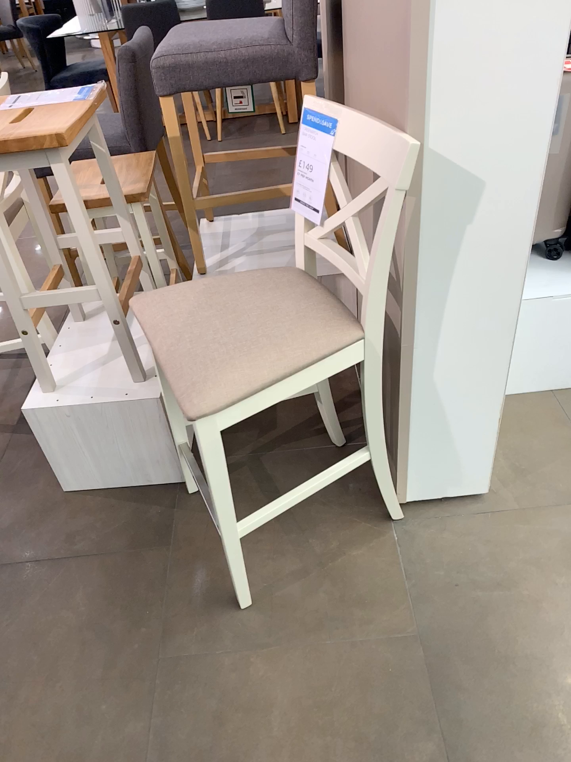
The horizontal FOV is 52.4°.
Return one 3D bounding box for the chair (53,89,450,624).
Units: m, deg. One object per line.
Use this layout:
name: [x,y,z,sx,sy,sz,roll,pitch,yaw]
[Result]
chair: [-0.041,-0.027,1.258,0.538,0.938,0.453,-20,41,-15]
